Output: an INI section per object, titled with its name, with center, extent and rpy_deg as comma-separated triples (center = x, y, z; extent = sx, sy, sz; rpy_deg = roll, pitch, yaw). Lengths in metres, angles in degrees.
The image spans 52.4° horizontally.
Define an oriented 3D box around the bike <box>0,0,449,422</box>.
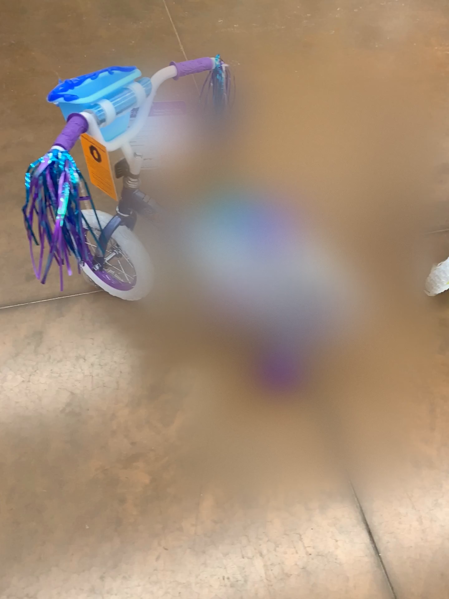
[bike]
center = -0.043, -0.168, 1.022
extent = 0.804, 0.634, 0.441
rpy_deg = 17, 55, 6
